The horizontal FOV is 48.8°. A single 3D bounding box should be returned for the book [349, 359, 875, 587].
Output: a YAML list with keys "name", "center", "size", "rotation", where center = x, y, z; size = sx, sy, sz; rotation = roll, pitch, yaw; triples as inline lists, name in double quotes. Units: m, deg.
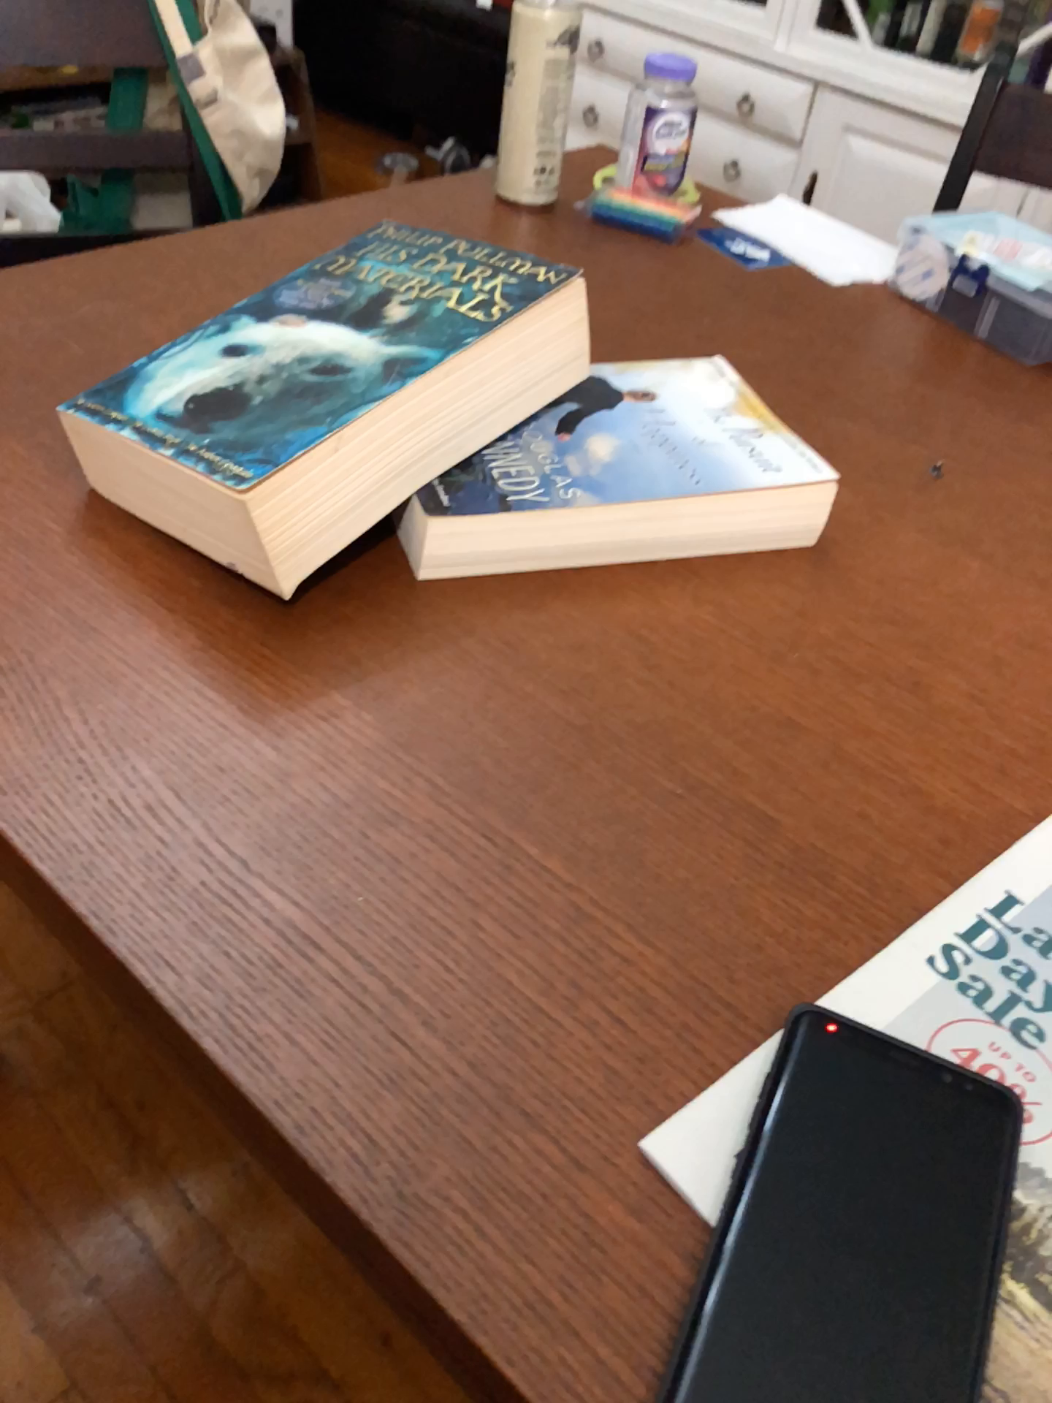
- name: "book"
  center: [0.036, -0.132, 0.630]
  size: [0.240, 0.040, 0.171]
  rotation: [-7, 36, -13]

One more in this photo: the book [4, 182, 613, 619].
- name: "book"
  center: [-0.098, -0.164, 0.577]
  size: [0.170, 0.060, 0.241]
  rotation: [29, 56, 29]
